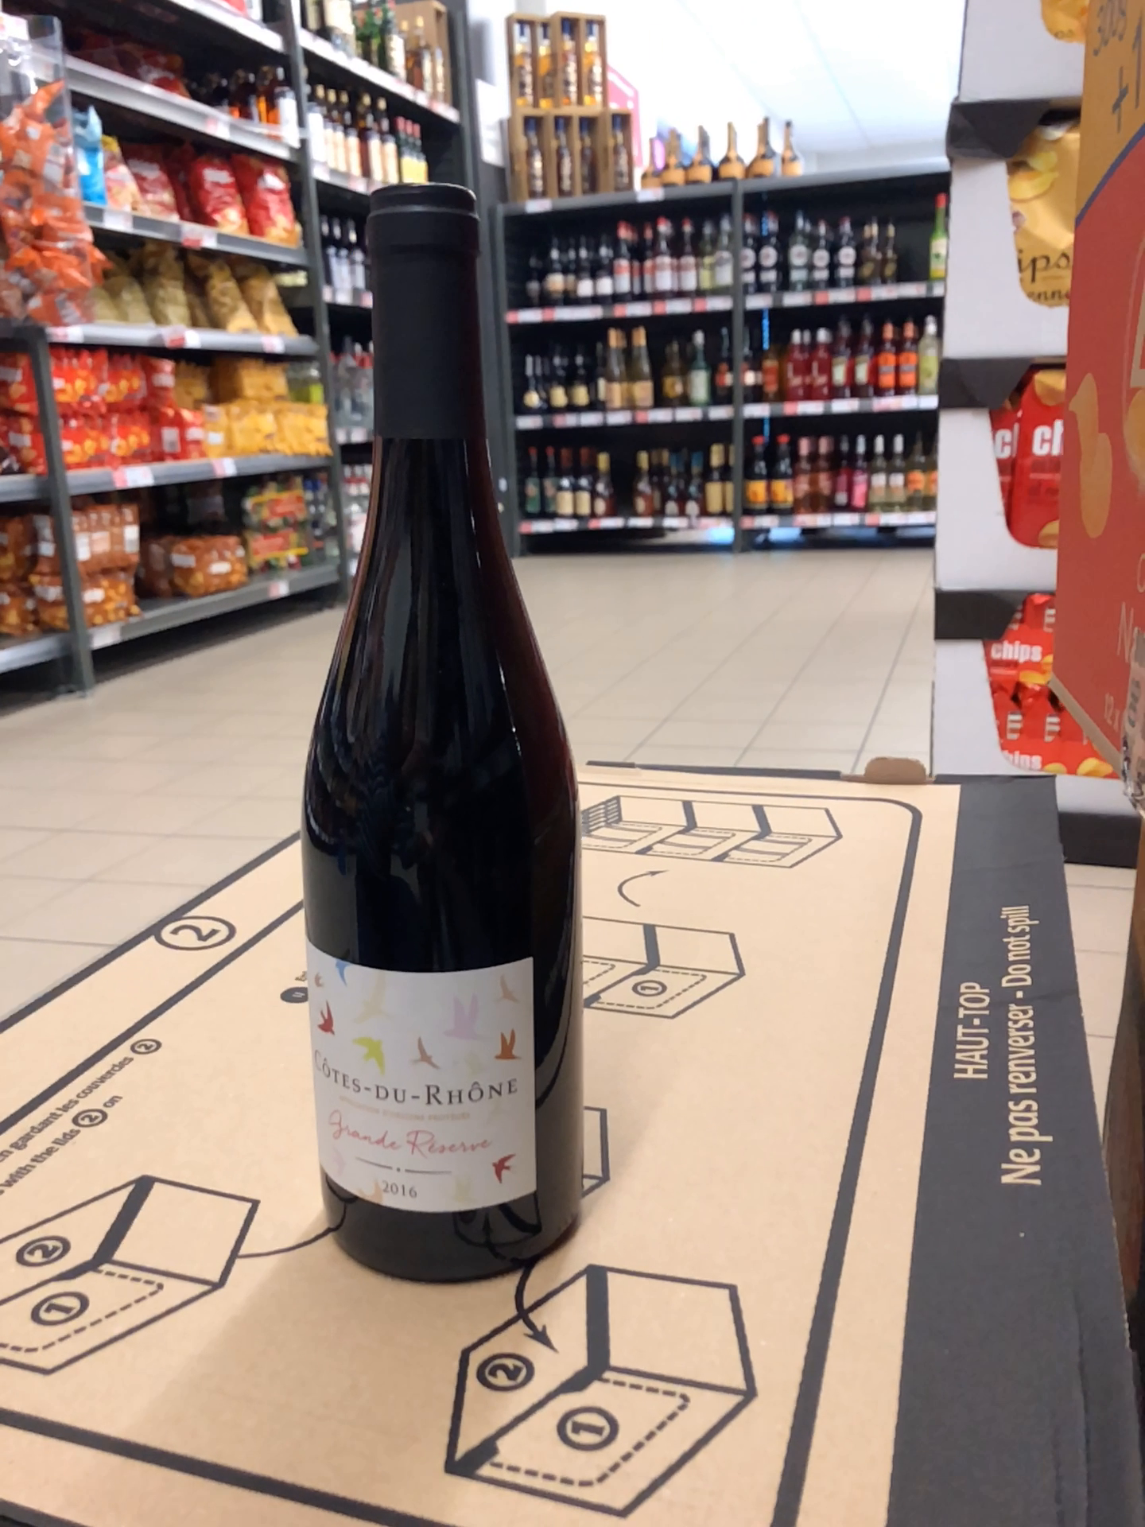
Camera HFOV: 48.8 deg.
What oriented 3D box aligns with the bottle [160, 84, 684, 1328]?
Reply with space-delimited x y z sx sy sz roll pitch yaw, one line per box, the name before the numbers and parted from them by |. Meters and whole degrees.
bottle | -0.029 -0.010 0.345 0.100 0.289 0.090 1 12 14
